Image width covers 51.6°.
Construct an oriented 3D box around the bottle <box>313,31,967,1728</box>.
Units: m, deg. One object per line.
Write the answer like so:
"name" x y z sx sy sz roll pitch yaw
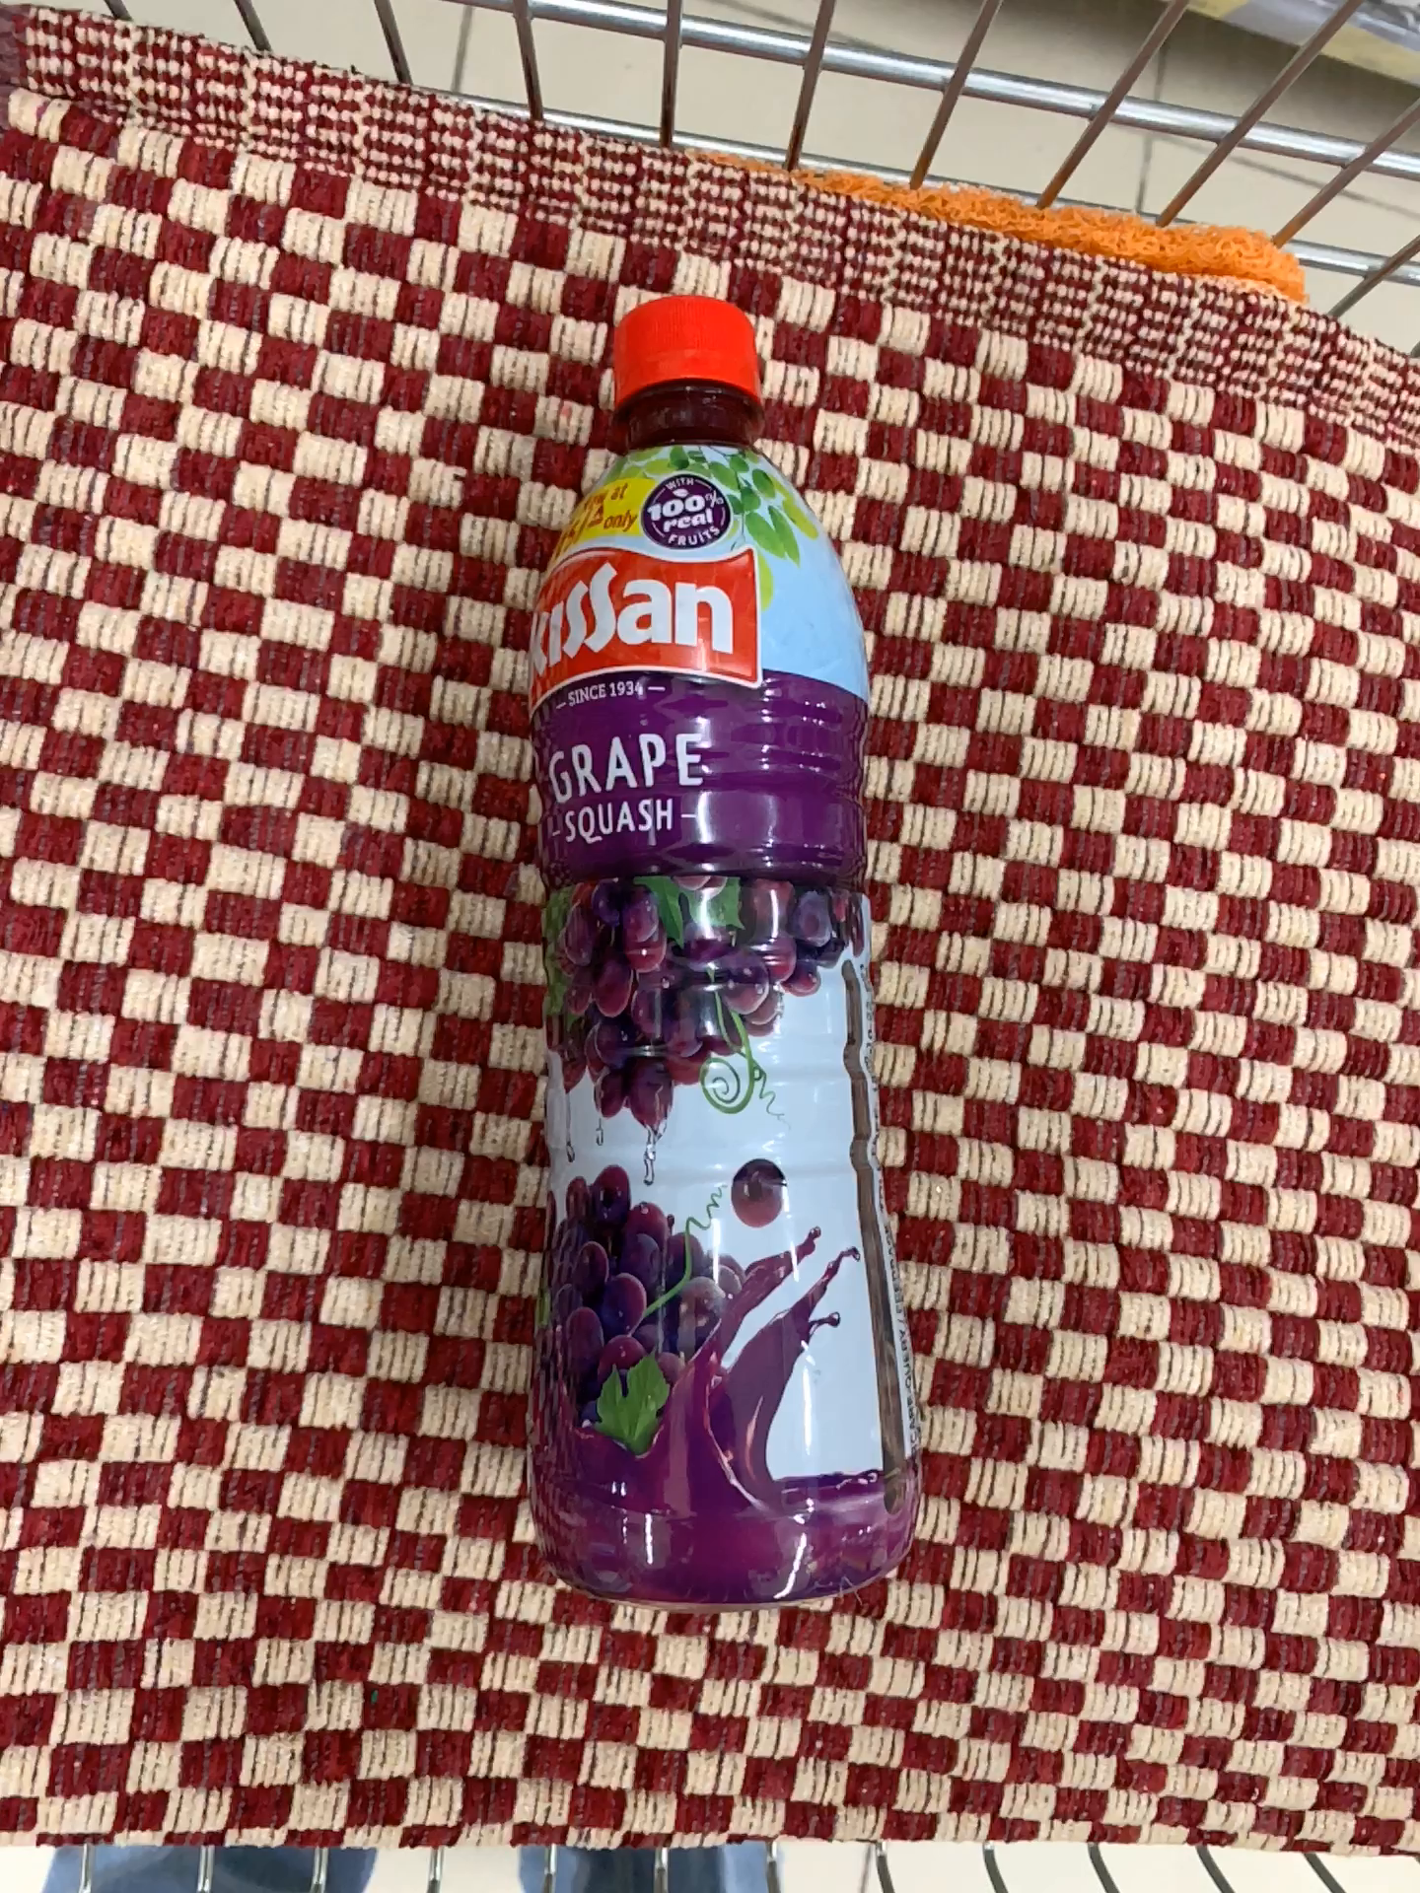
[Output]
"bottle" -0.010 -0.010 0.261 0.080 0.080 0.240 7 81 -56
